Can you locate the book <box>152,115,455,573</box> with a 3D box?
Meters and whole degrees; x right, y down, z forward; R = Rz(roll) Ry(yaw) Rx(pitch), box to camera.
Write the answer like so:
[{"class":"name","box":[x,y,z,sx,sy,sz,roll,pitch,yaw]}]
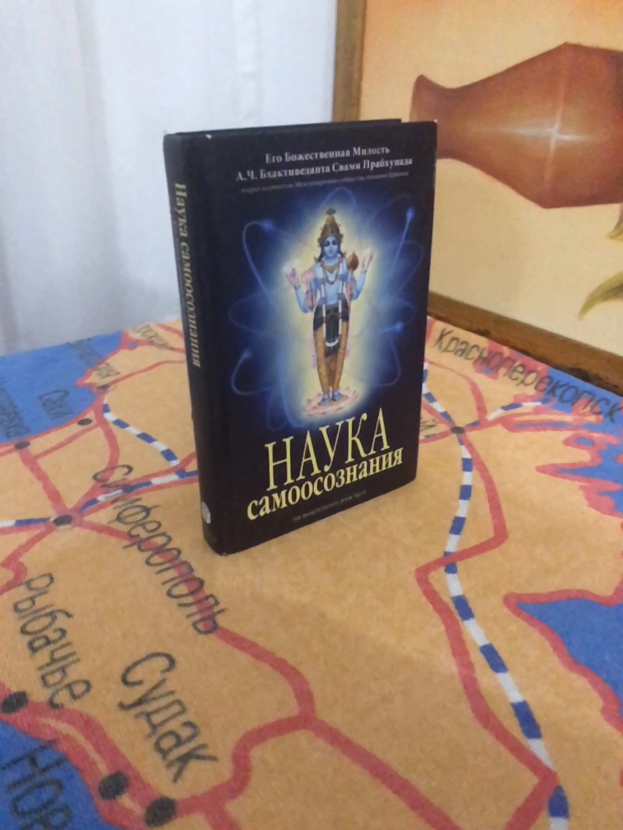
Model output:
[{"class":"book","box":[0.003,-0.036,0.348,0.140,0.206,0.030,-17,31,-30]}]
